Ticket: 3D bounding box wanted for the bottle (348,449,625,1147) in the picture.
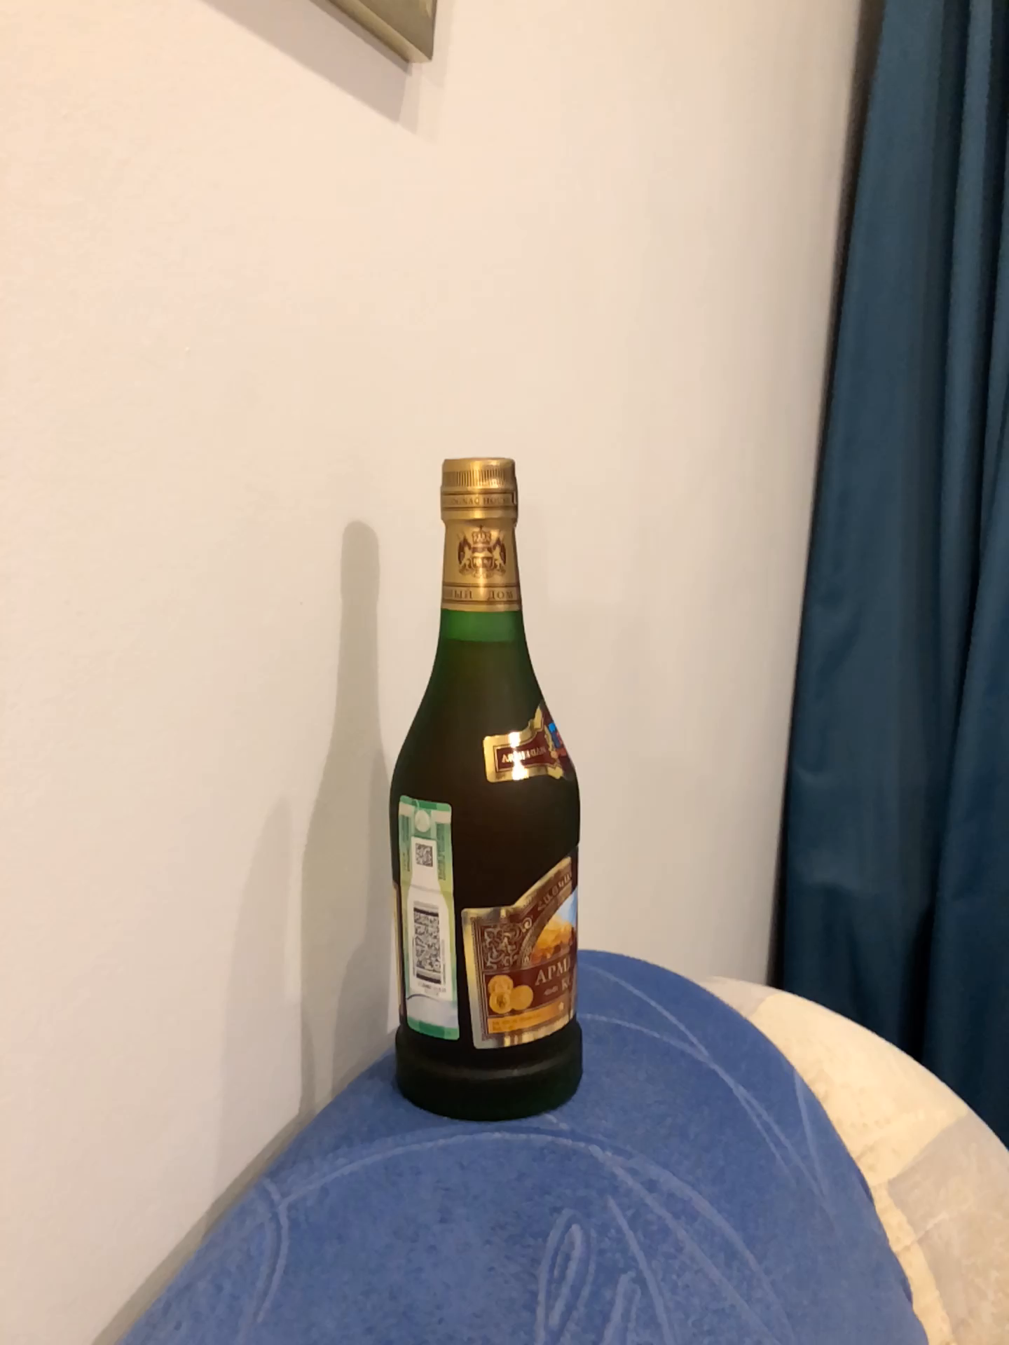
[{"bbox_3d":[-0.003,0.039,0.430,0.080,0.243,0.090,2,9,15],"label":"bottle"}]
